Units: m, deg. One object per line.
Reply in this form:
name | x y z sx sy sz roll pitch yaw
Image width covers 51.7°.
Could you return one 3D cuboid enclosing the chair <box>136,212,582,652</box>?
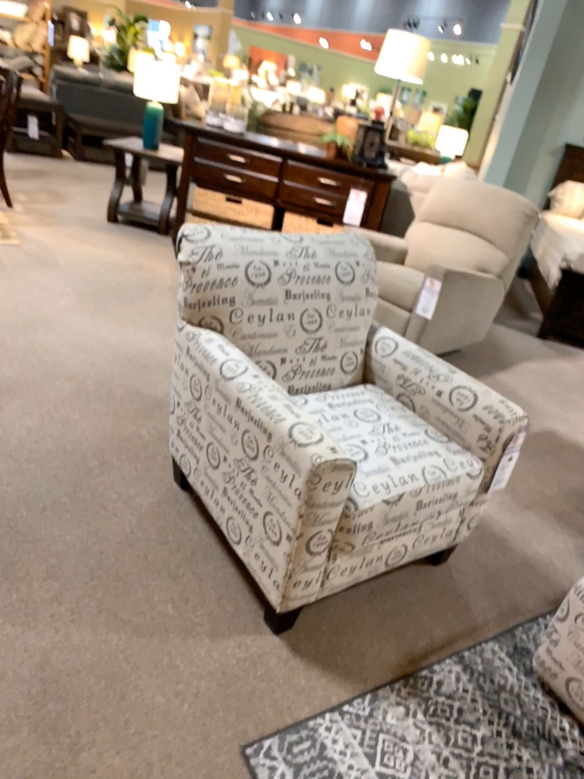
chair | 0.120 0.028 1.918 0.836 0.869 0.918 -8 34 -36
